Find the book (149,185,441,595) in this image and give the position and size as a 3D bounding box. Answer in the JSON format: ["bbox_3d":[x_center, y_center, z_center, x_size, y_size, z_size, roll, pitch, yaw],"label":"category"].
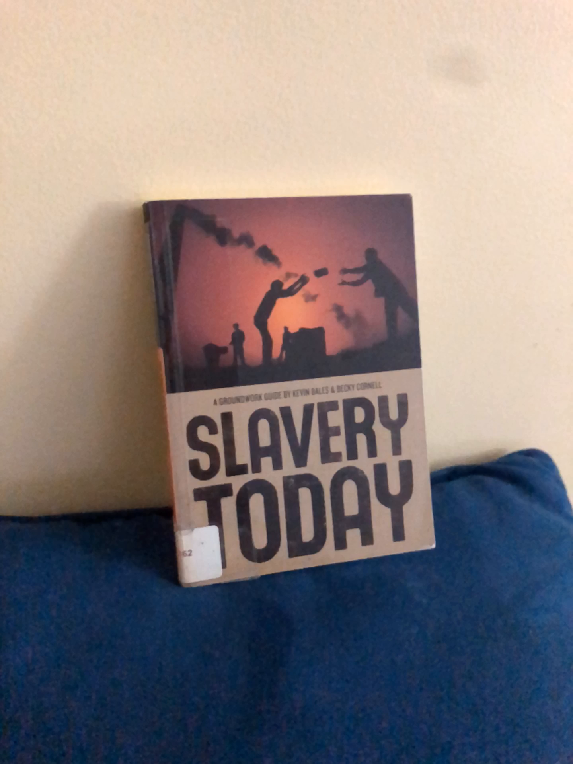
[{"bbox_3d":[0.006,0.000,0.315,0.127,0.182,0.028,-5,4,-13],"label":"book"}]
